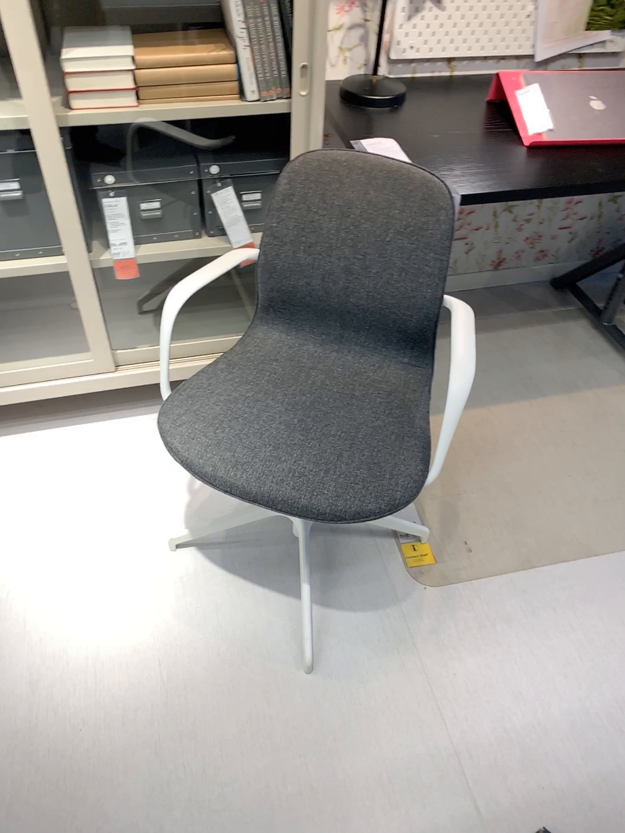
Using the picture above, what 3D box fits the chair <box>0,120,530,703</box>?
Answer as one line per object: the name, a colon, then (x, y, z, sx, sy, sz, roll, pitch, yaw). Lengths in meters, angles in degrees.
chair: (-0.030, 0.000, 1.279, 0.620, 0.837, 0.642, 16, 47, 11)
